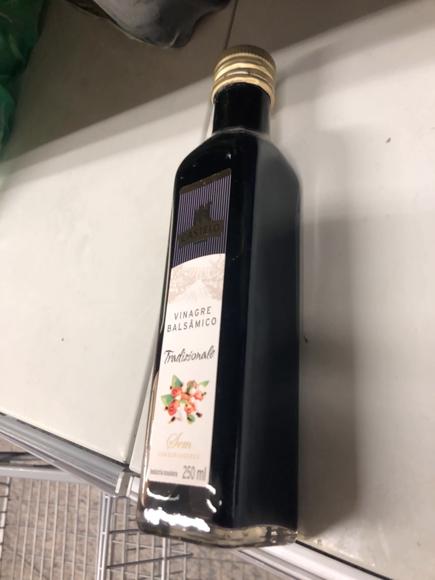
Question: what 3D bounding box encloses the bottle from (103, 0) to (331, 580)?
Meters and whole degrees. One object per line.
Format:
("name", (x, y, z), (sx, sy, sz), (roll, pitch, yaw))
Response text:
("bottle", (0.009, -0.017, 0.218), (0.060, 0.060, 0.250), (-10, 68, 38))
